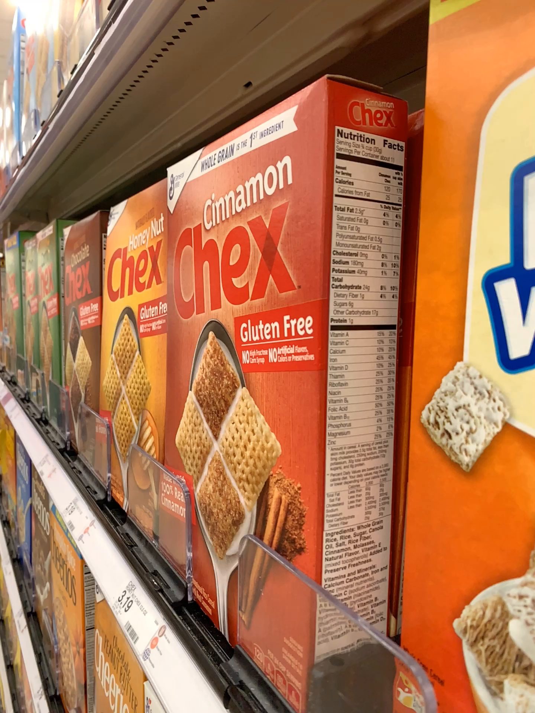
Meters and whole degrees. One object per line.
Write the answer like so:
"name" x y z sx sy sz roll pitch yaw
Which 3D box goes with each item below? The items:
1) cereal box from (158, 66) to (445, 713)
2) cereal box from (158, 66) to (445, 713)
"cereal box" -0.001 0.024 0.332 0.060 0.300 0.200 -1 5 -30
"cereal box" -0.001 0.024 0.332 0.060 0.300 0.200 -1 5 -30
